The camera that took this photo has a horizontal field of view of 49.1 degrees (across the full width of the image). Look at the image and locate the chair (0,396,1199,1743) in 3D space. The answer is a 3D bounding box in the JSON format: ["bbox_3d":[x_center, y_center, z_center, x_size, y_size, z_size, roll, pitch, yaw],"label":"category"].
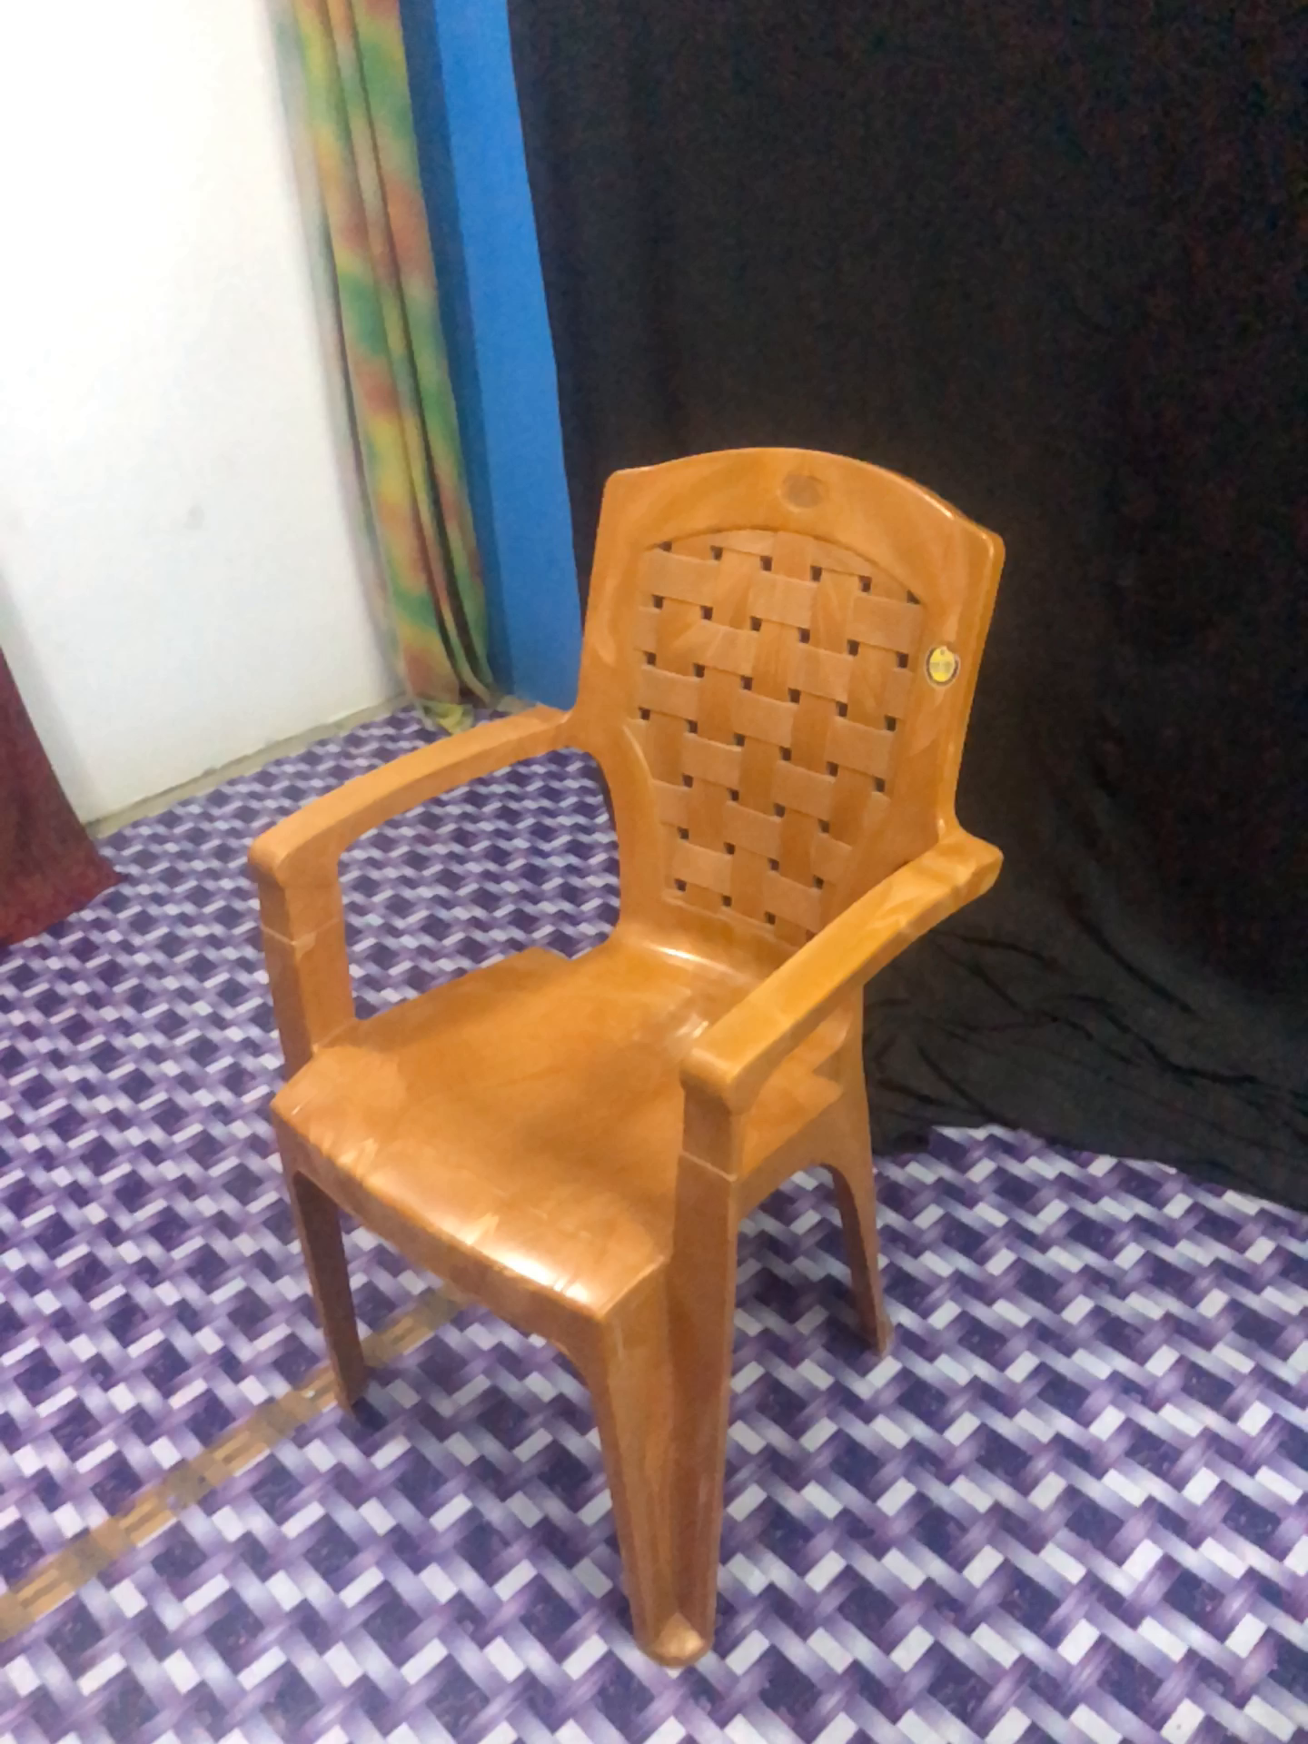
[{"bbox_3d":[-0.013,0.093,1.252,0.601,0.786,0.663,23,41,38],"label":"chair"}]
